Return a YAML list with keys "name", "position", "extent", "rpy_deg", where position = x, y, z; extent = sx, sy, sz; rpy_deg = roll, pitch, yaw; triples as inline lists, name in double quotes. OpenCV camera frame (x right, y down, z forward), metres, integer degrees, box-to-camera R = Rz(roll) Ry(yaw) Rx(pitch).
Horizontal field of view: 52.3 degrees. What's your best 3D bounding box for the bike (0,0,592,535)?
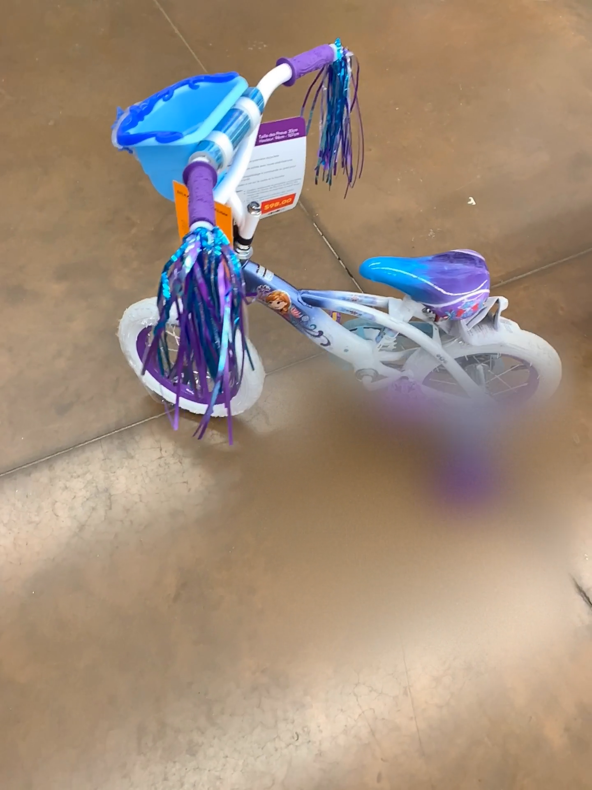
- name: "bike"
  position: [0.094, -0.151, 0.920]
  extent: [0.804, 0.634, 0.441]
  rpy_deg: [7, 57, -2]
